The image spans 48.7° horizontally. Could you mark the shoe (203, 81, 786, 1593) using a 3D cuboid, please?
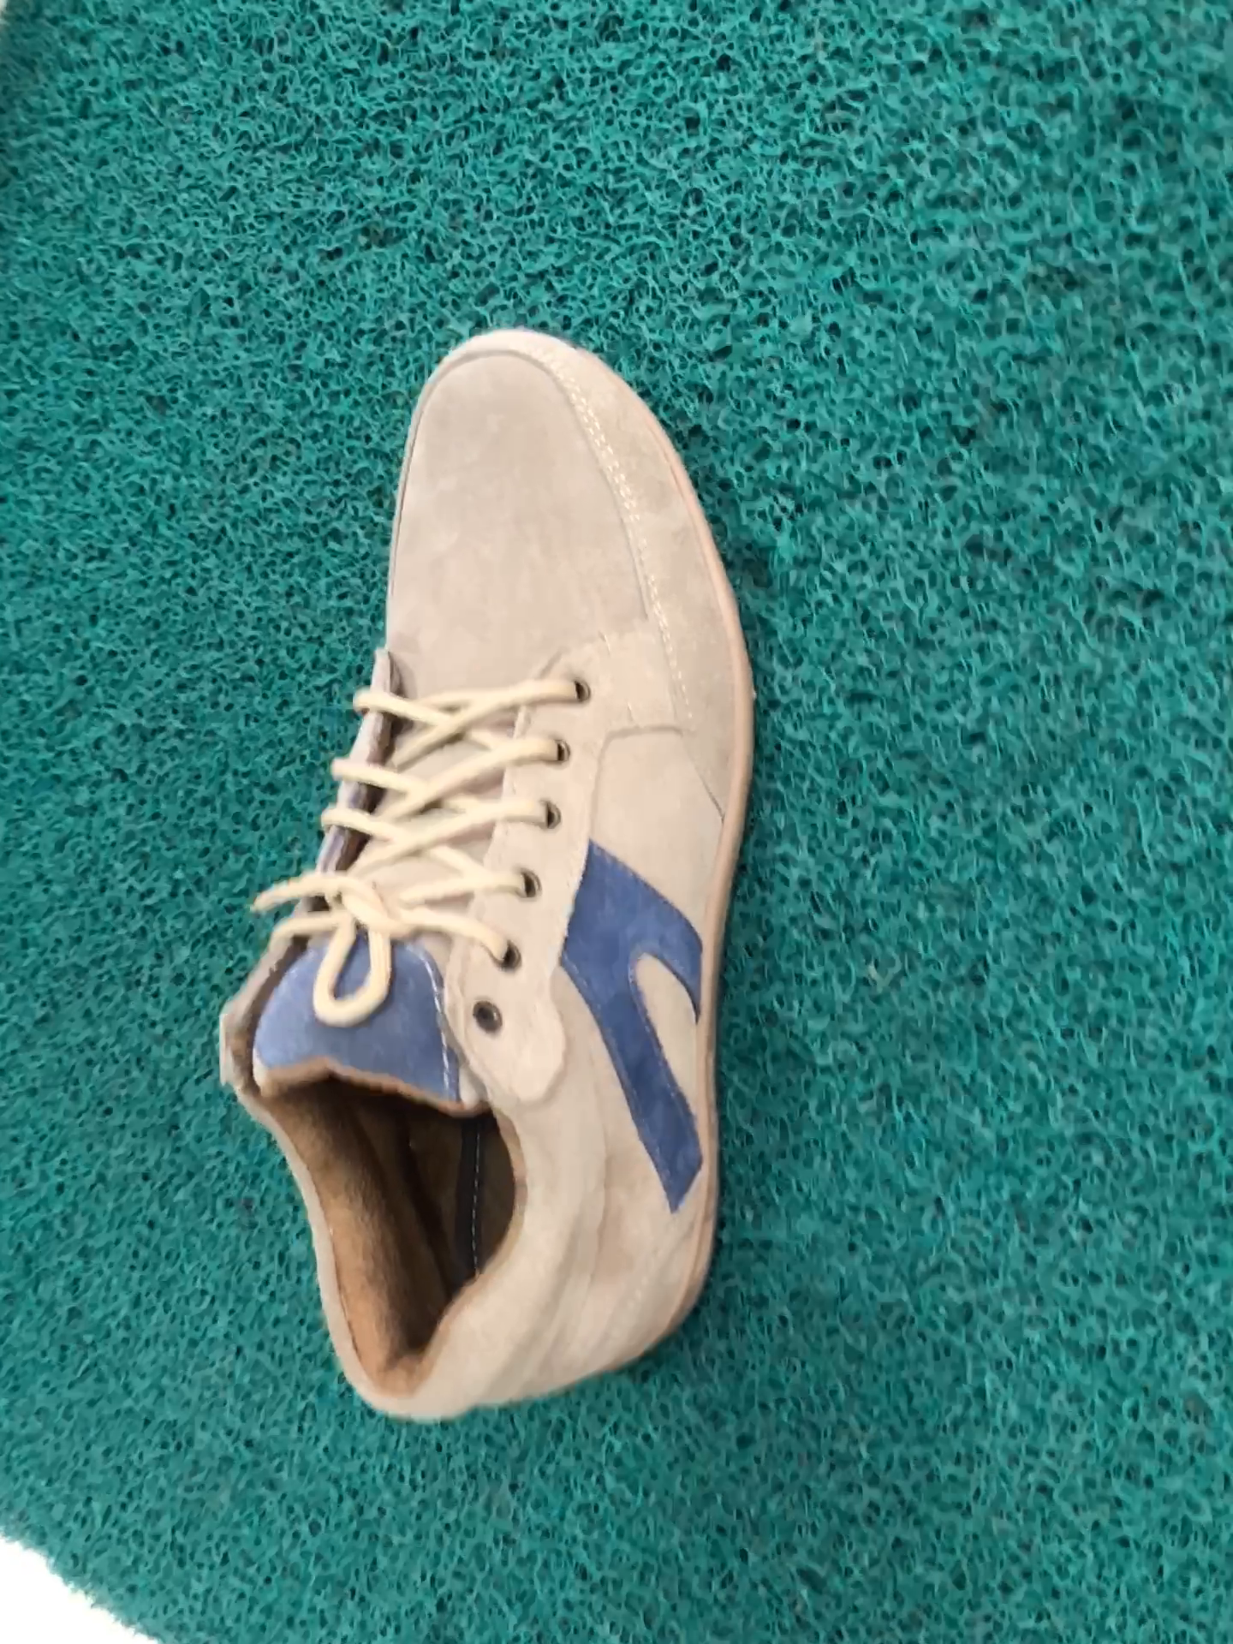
[{"bbox_3d":[-0.026,0.004,0.364,0.100,0.120,0.320,-1,90,26],"label":"shoe"}]
